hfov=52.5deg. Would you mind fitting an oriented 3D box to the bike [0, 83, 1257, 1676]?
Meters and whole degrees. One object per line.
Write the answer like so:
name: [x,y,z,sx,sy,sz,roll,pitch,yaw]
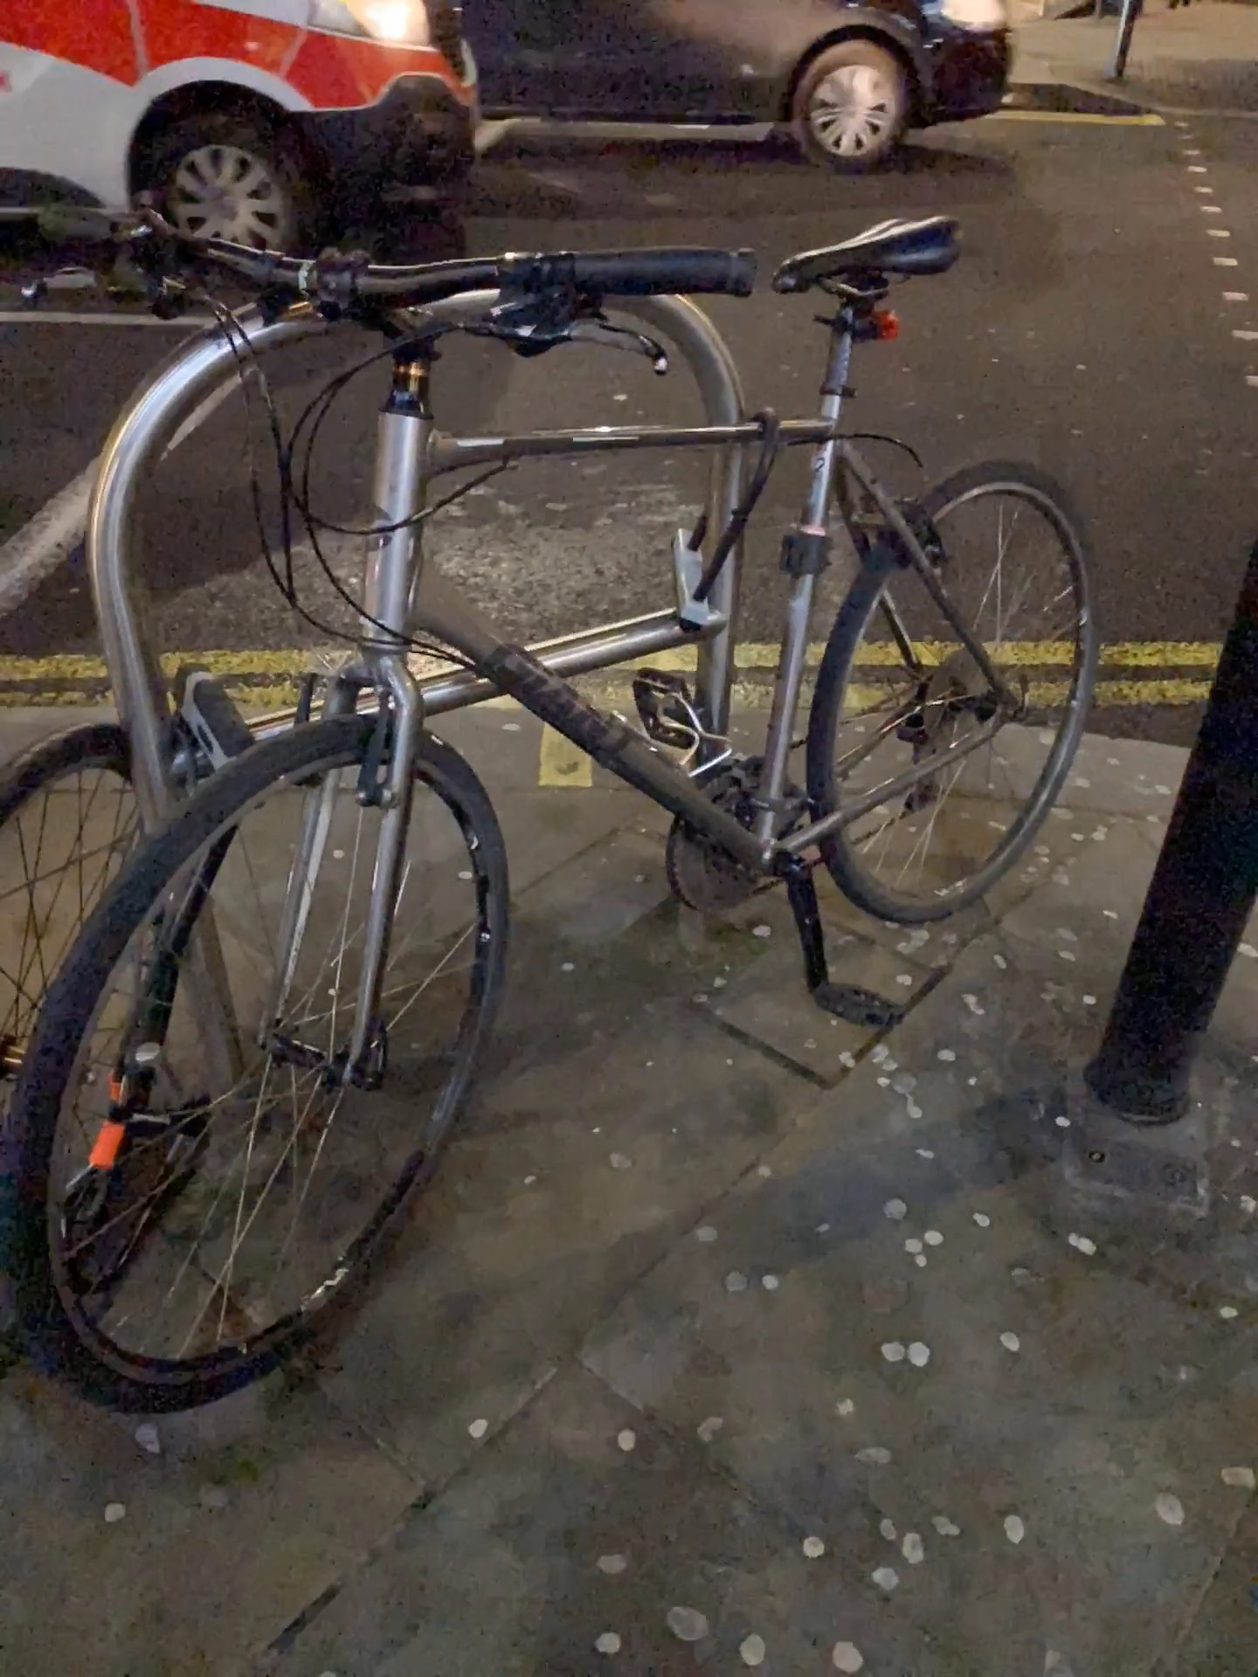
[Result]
bike: [0.020,-0.210,1.567,0.710,1.124,1.825,30,44,34]
